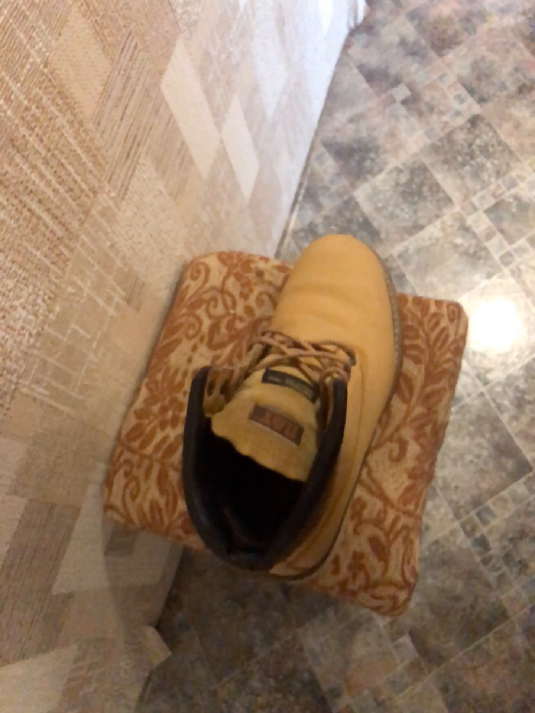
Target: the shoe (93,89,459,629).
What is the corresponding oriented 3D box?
[{"bbox_3d":[0.028,0.005,0.440,0.140,0.190,0.310,12,74,14],"label":"shoe"}]
